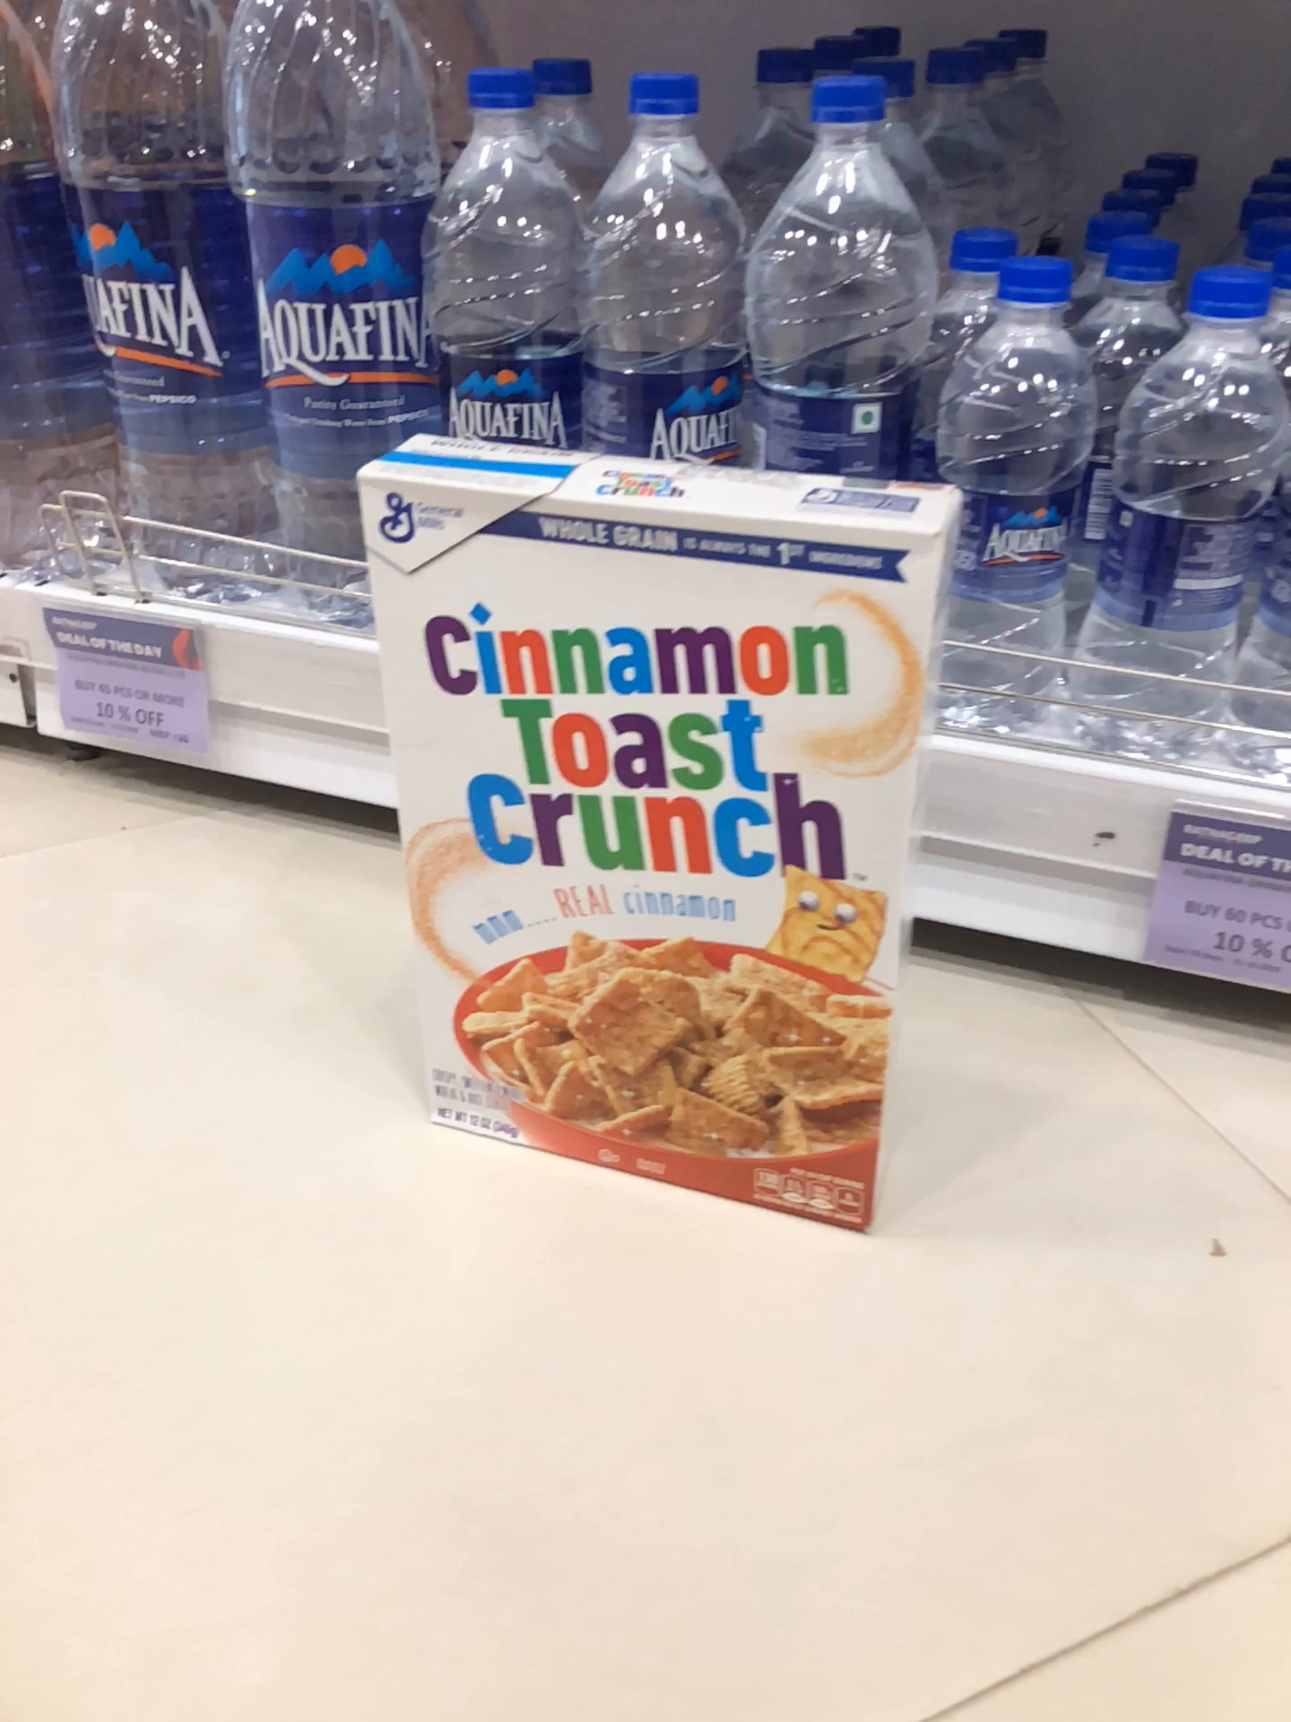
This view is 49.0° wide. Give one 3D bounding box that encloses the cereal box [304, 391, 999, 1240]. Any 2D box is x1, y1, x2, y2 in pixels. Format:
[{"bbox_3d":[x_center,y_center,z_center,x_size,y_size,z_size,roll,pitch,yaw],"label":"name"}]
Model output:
[{"bbox_3d":[0.003,-0.009,0.502,0.200,0.278,0.060,10,35,16],"label":"cereal box"}]
